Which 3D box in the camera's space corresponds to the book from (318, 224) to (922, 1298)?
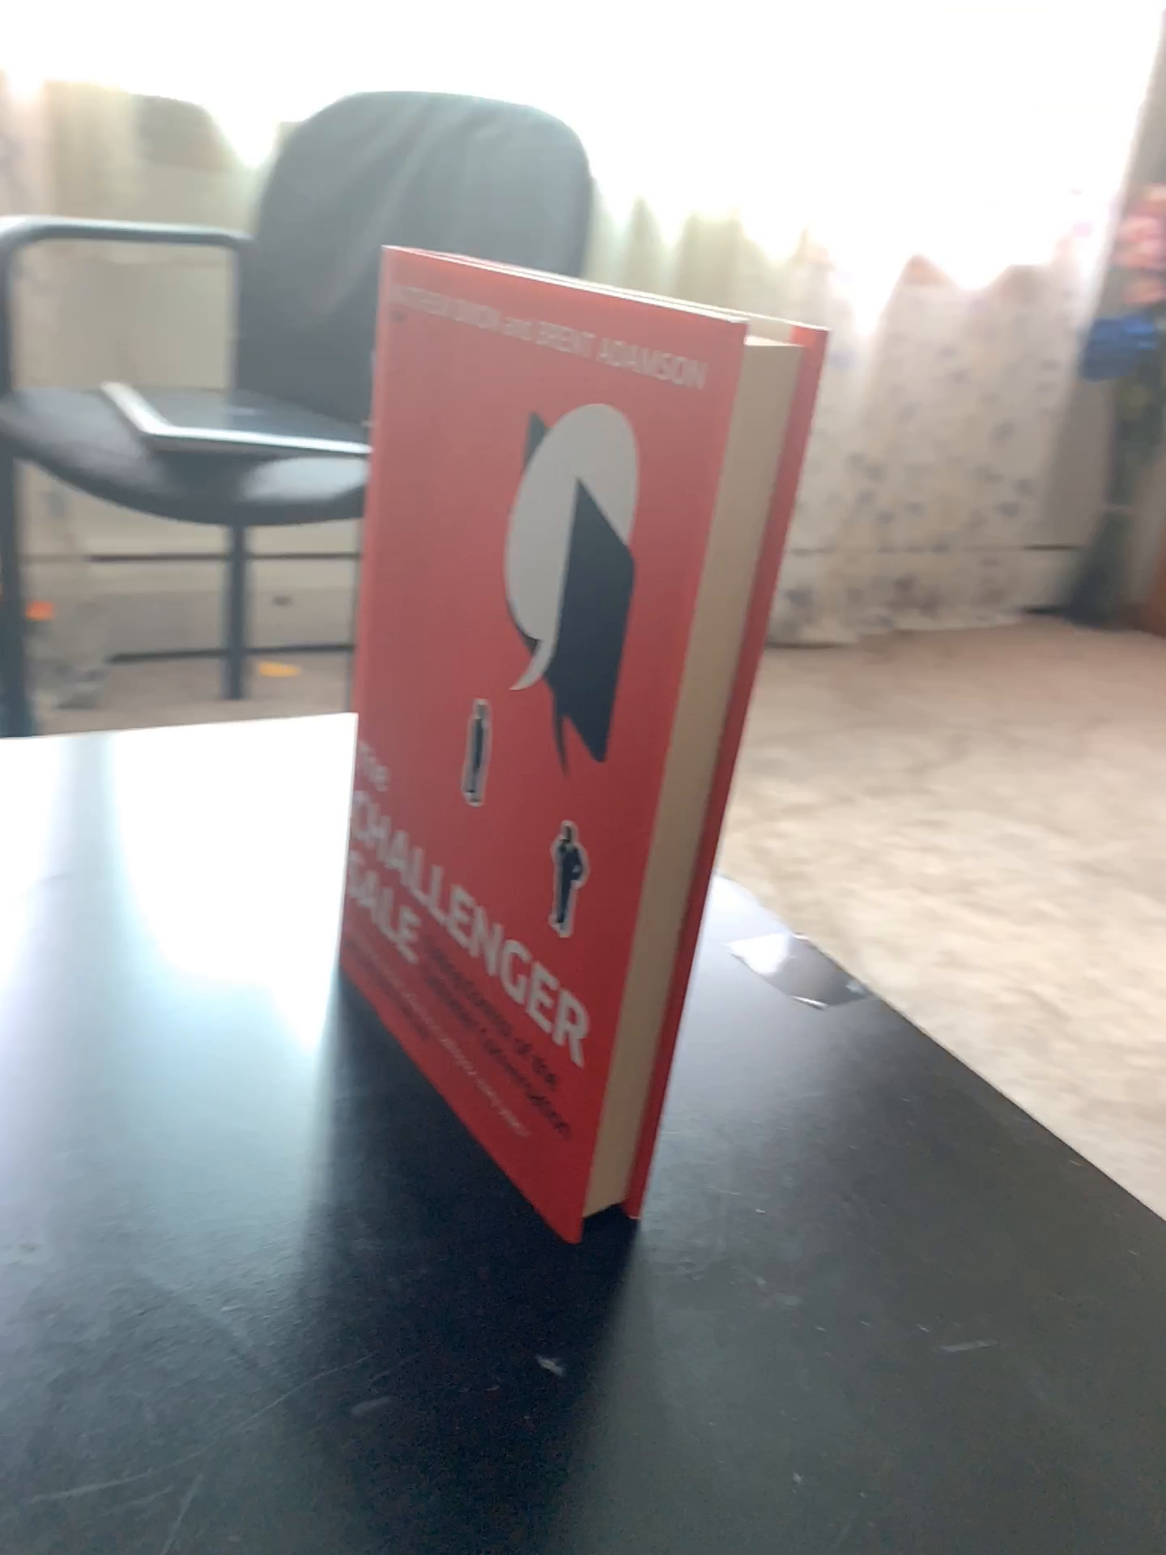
[{"bbox_3d":[-0.014,-0.014,0.333,0.040,0.238,0.171,-8,28,-34],"label":"book"}]
